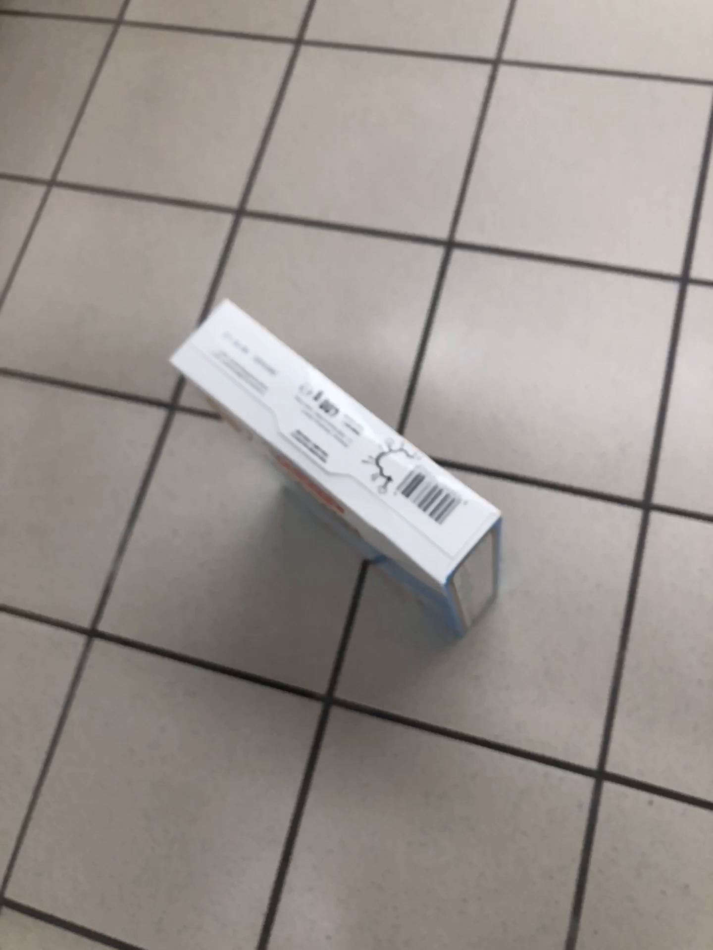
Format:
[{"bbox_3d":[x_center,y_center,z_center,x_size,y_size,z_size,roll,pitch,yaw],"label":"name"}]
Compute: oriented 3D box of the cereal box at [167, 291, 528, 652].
[{"bbox_3d":[0.007,0.017,0.516,0.200,0.250,0.050,39,82,17],"label":"cereal box"}]
